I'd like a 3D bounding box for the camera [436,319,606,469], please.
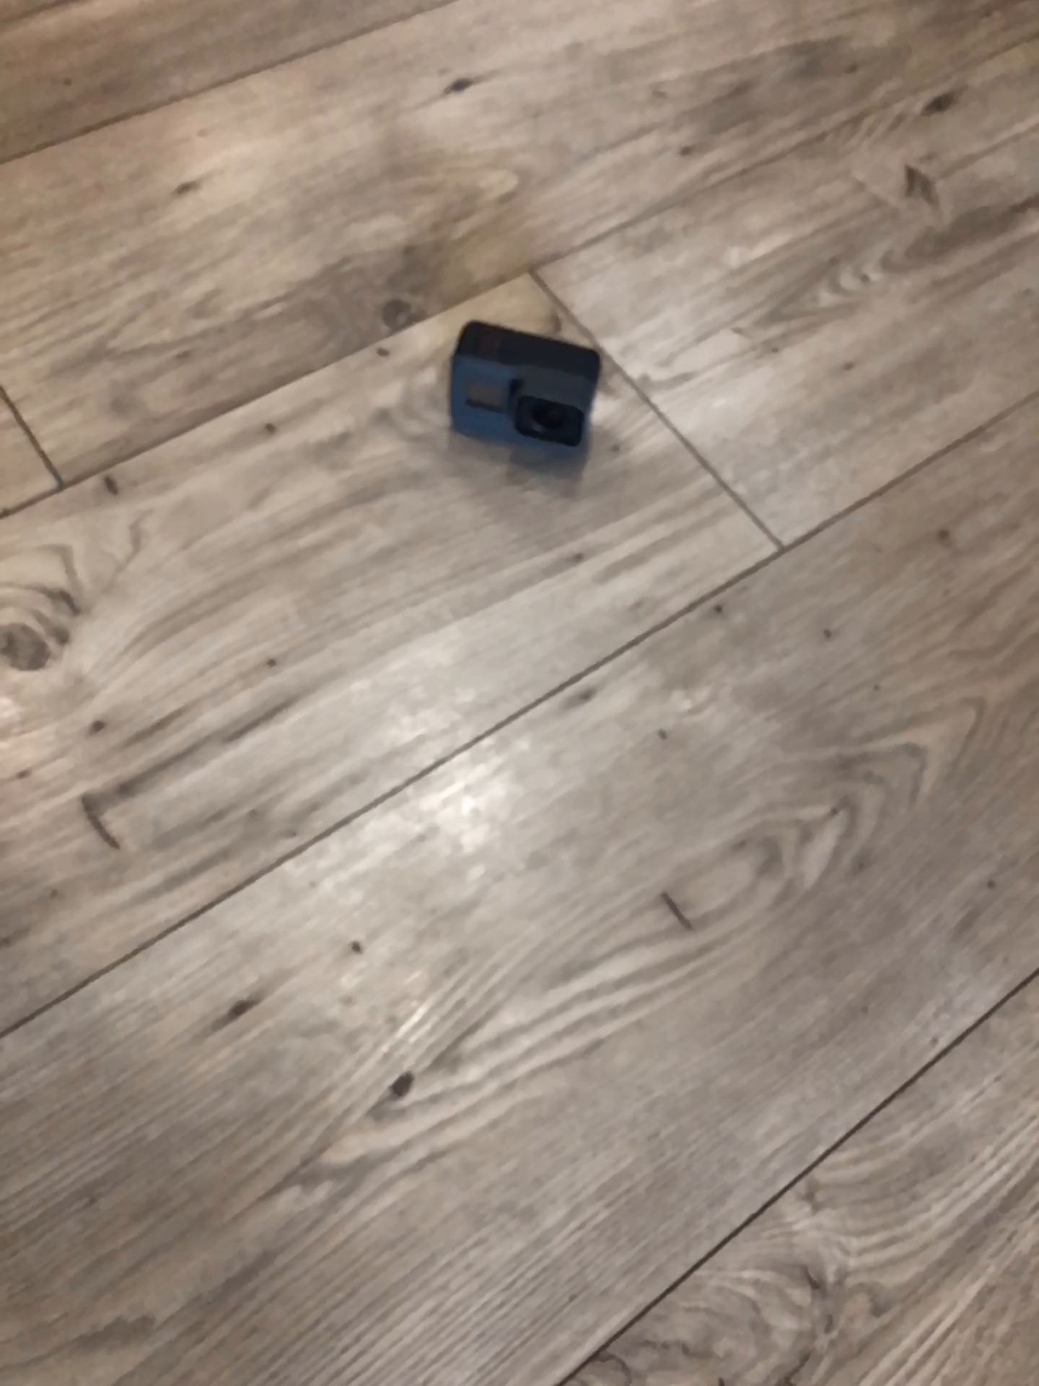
[{"bbox_3d":[0.000,-0.128,0.501,0.065,0.040,0.032,13,63,2],"label":"camera"}]
